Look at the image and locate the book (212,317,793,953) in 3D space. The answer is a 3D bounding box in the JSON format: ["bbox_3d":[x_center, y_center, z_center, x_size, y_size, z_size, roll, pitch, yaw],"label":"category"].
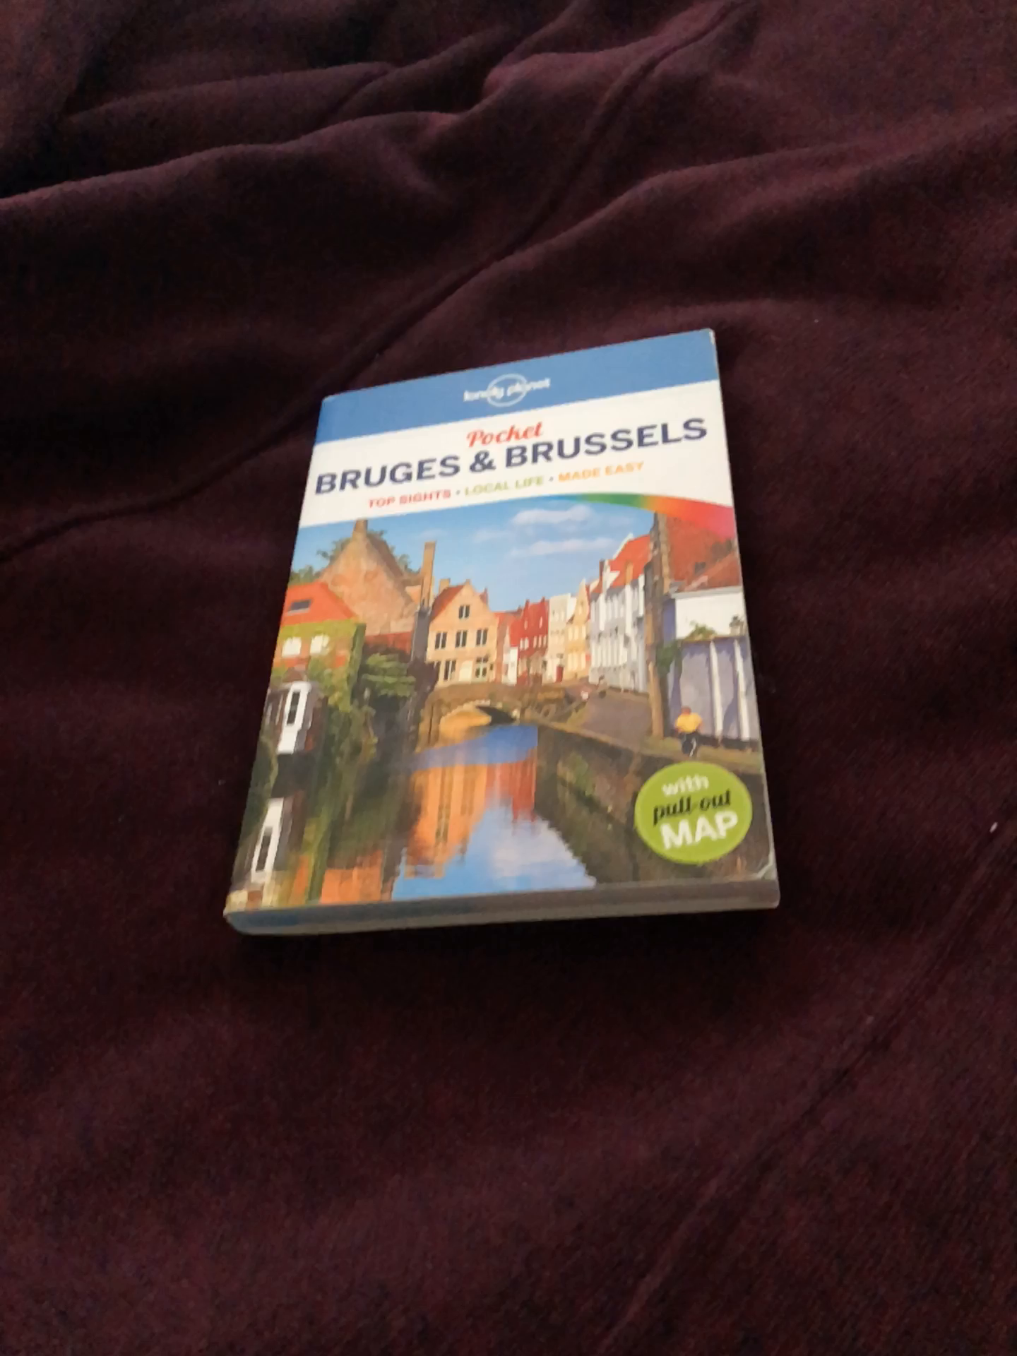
[{"bbox_3d":[0.000,-0.018,0.264,0.110,0.016,0.158,-7,53,12],"label":"book"}]
